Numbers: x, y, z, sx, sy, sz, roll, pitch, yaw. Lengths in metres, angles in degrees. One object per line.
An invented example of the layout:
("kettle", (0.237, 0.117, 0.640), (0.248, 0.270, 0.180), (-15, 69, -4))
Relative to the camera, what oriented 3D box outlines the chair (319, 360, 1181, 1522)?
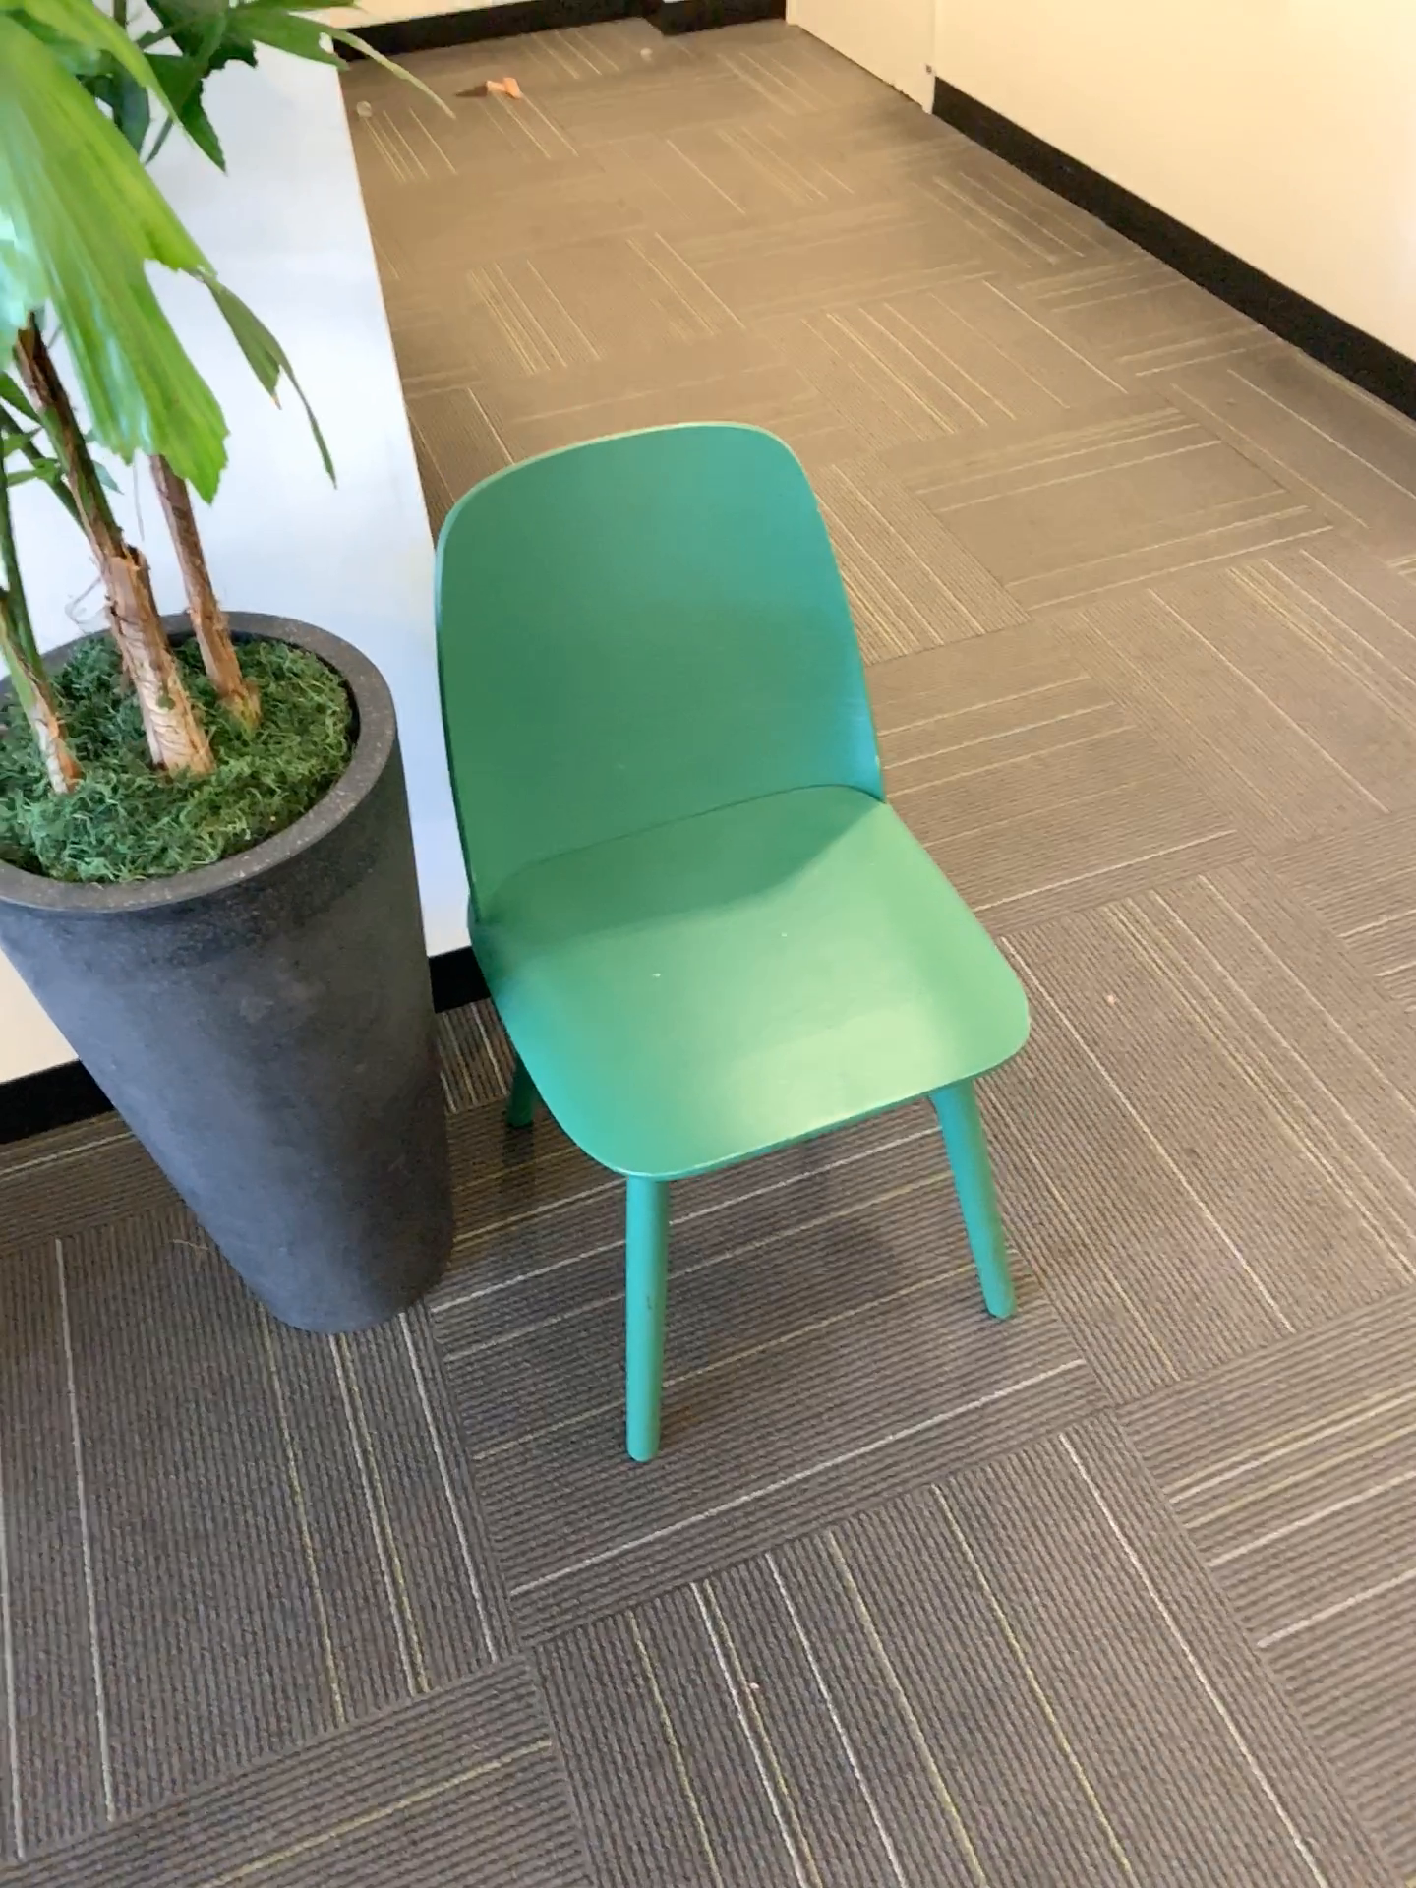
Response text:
("chair", (-0.015, -0.022, 1.265), (0.390, 0.627, 0.714), (-16, 48, -12))
